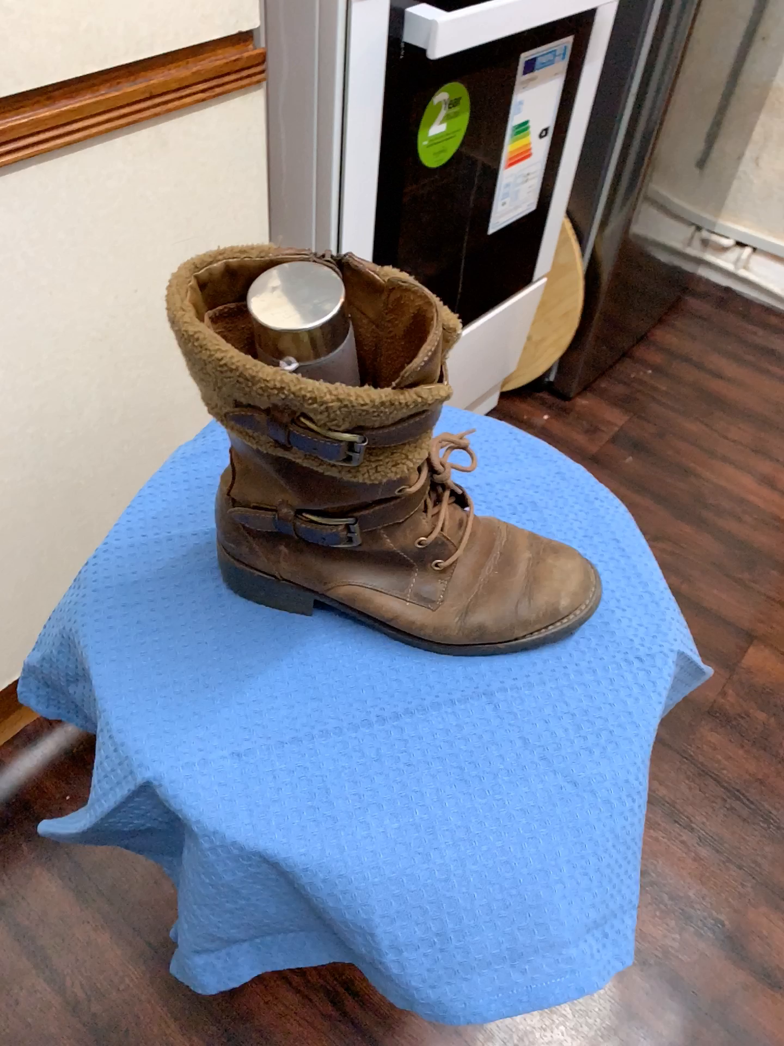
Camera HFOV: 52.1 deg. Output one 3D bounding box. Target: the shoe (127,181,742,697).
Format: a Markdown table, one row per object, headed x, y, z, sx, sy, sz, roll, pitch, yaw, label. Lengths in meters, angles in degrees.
| x | y | z | sx | sy | sz | roll | pitch | yaw | label |
| --- | --- | --- | --- | --- | --- | --- | --- | --- | --- |
| 0.020 | -0.031 | 0.448 | 0.250 | 0.228 | 0.121 | 12 | 55 | 5 | shoe |
